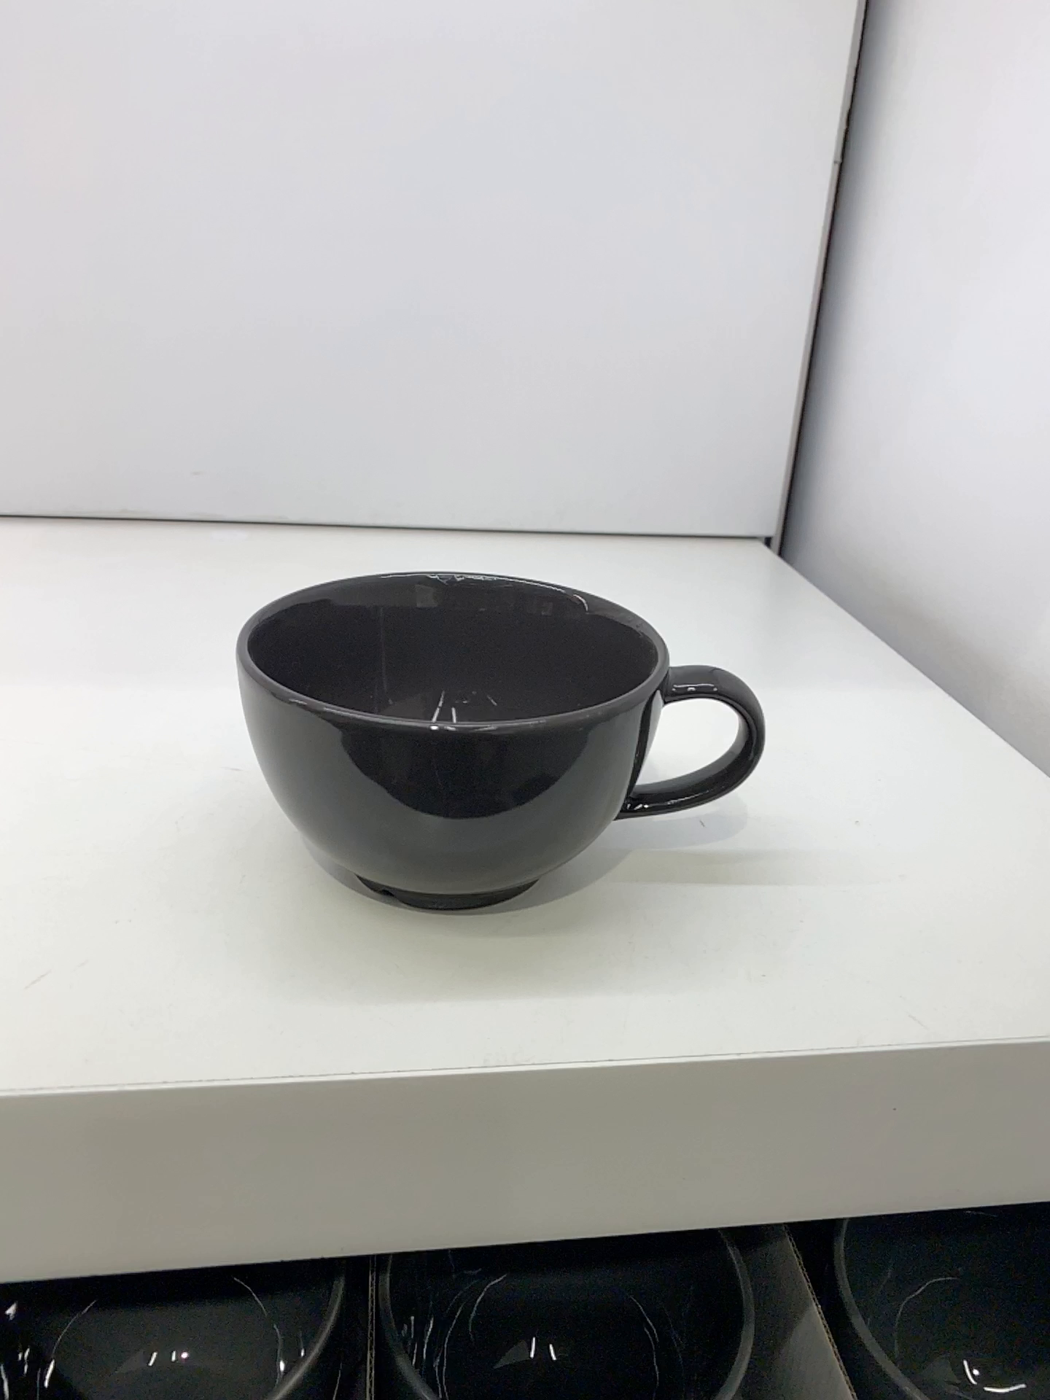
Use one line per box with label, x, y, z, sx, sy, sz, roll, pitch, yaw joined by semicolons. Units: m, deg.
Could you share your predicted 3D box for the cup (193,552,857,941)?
cup;-0.003;0.005;0.272;0.130;0.050;0.110;2;22;-4
